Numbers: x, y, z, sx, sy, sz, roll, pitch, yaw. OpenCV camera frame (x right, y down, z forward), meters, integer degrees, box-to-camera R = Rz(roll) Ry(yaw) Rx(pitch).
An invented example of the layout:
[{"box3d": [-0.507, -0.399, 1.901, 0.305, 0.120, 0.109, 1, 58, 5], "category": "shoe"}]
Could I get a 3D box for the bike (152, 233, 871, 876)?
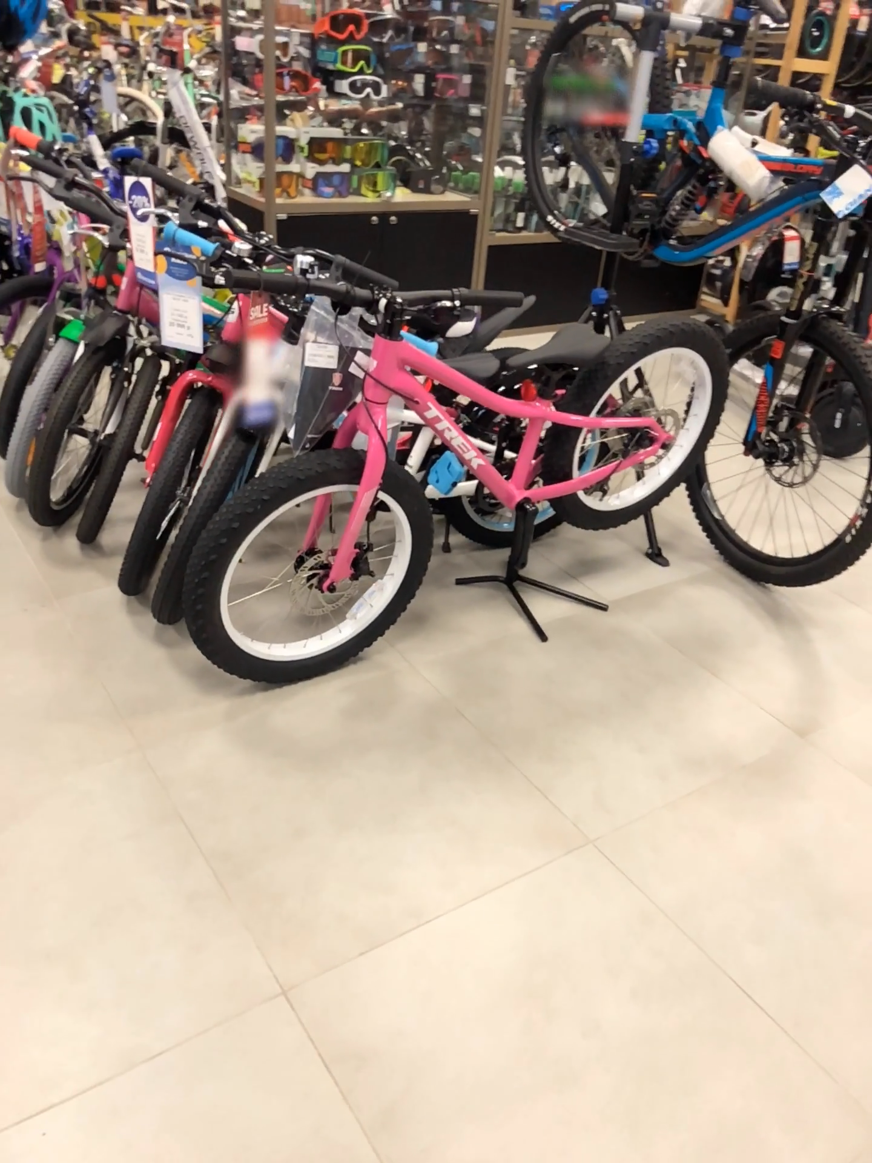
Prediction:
[{"box3d": [0.157, -0.173, 1.933, 1.338, 0.668, 0.572, -21, 38, -27], "category": "bike"}]
